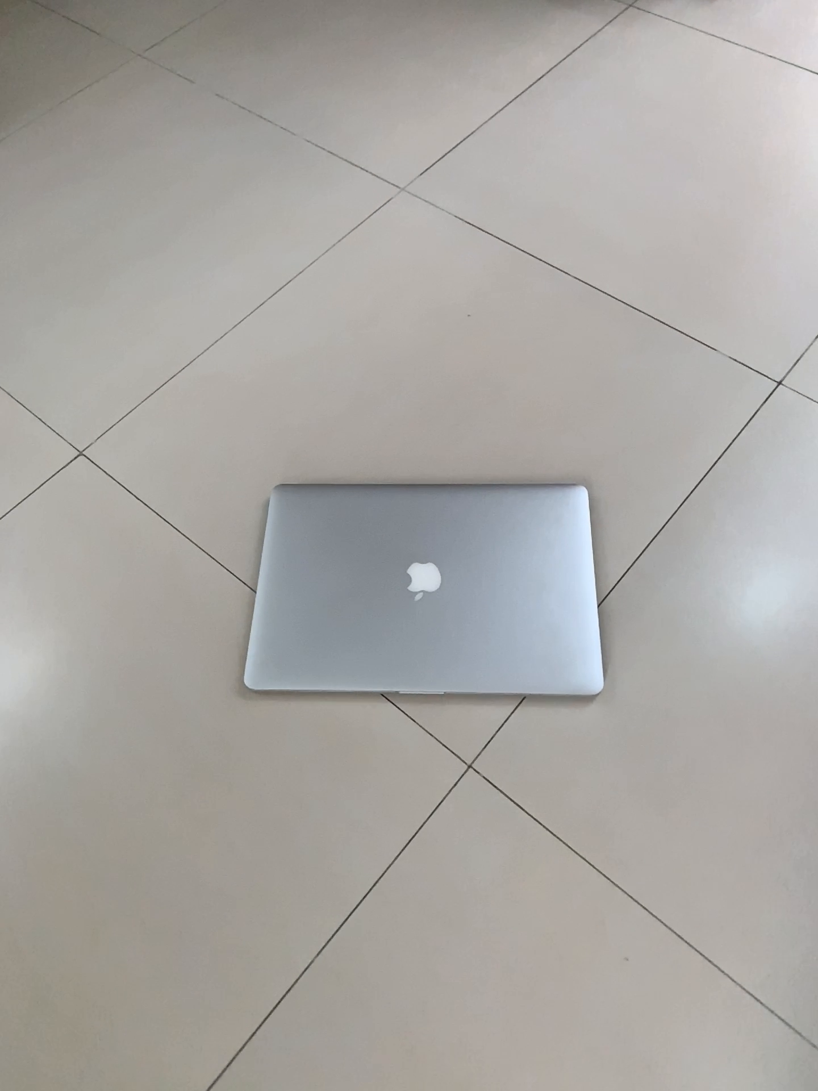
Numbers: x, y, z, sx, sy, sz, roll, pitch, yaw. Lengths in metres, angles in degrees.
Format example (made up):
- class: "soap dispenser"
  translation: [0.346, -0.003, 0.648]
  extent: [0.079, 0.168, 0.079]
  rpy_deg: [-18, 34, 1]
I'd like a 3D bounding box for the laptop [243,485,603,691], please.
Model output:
- class: "laptop"
  translation: [0.015, 0.038, 0.884]
  extent: [0.356, 0.001, 0.240]
  rpy_deg: [0, 60, 4]
